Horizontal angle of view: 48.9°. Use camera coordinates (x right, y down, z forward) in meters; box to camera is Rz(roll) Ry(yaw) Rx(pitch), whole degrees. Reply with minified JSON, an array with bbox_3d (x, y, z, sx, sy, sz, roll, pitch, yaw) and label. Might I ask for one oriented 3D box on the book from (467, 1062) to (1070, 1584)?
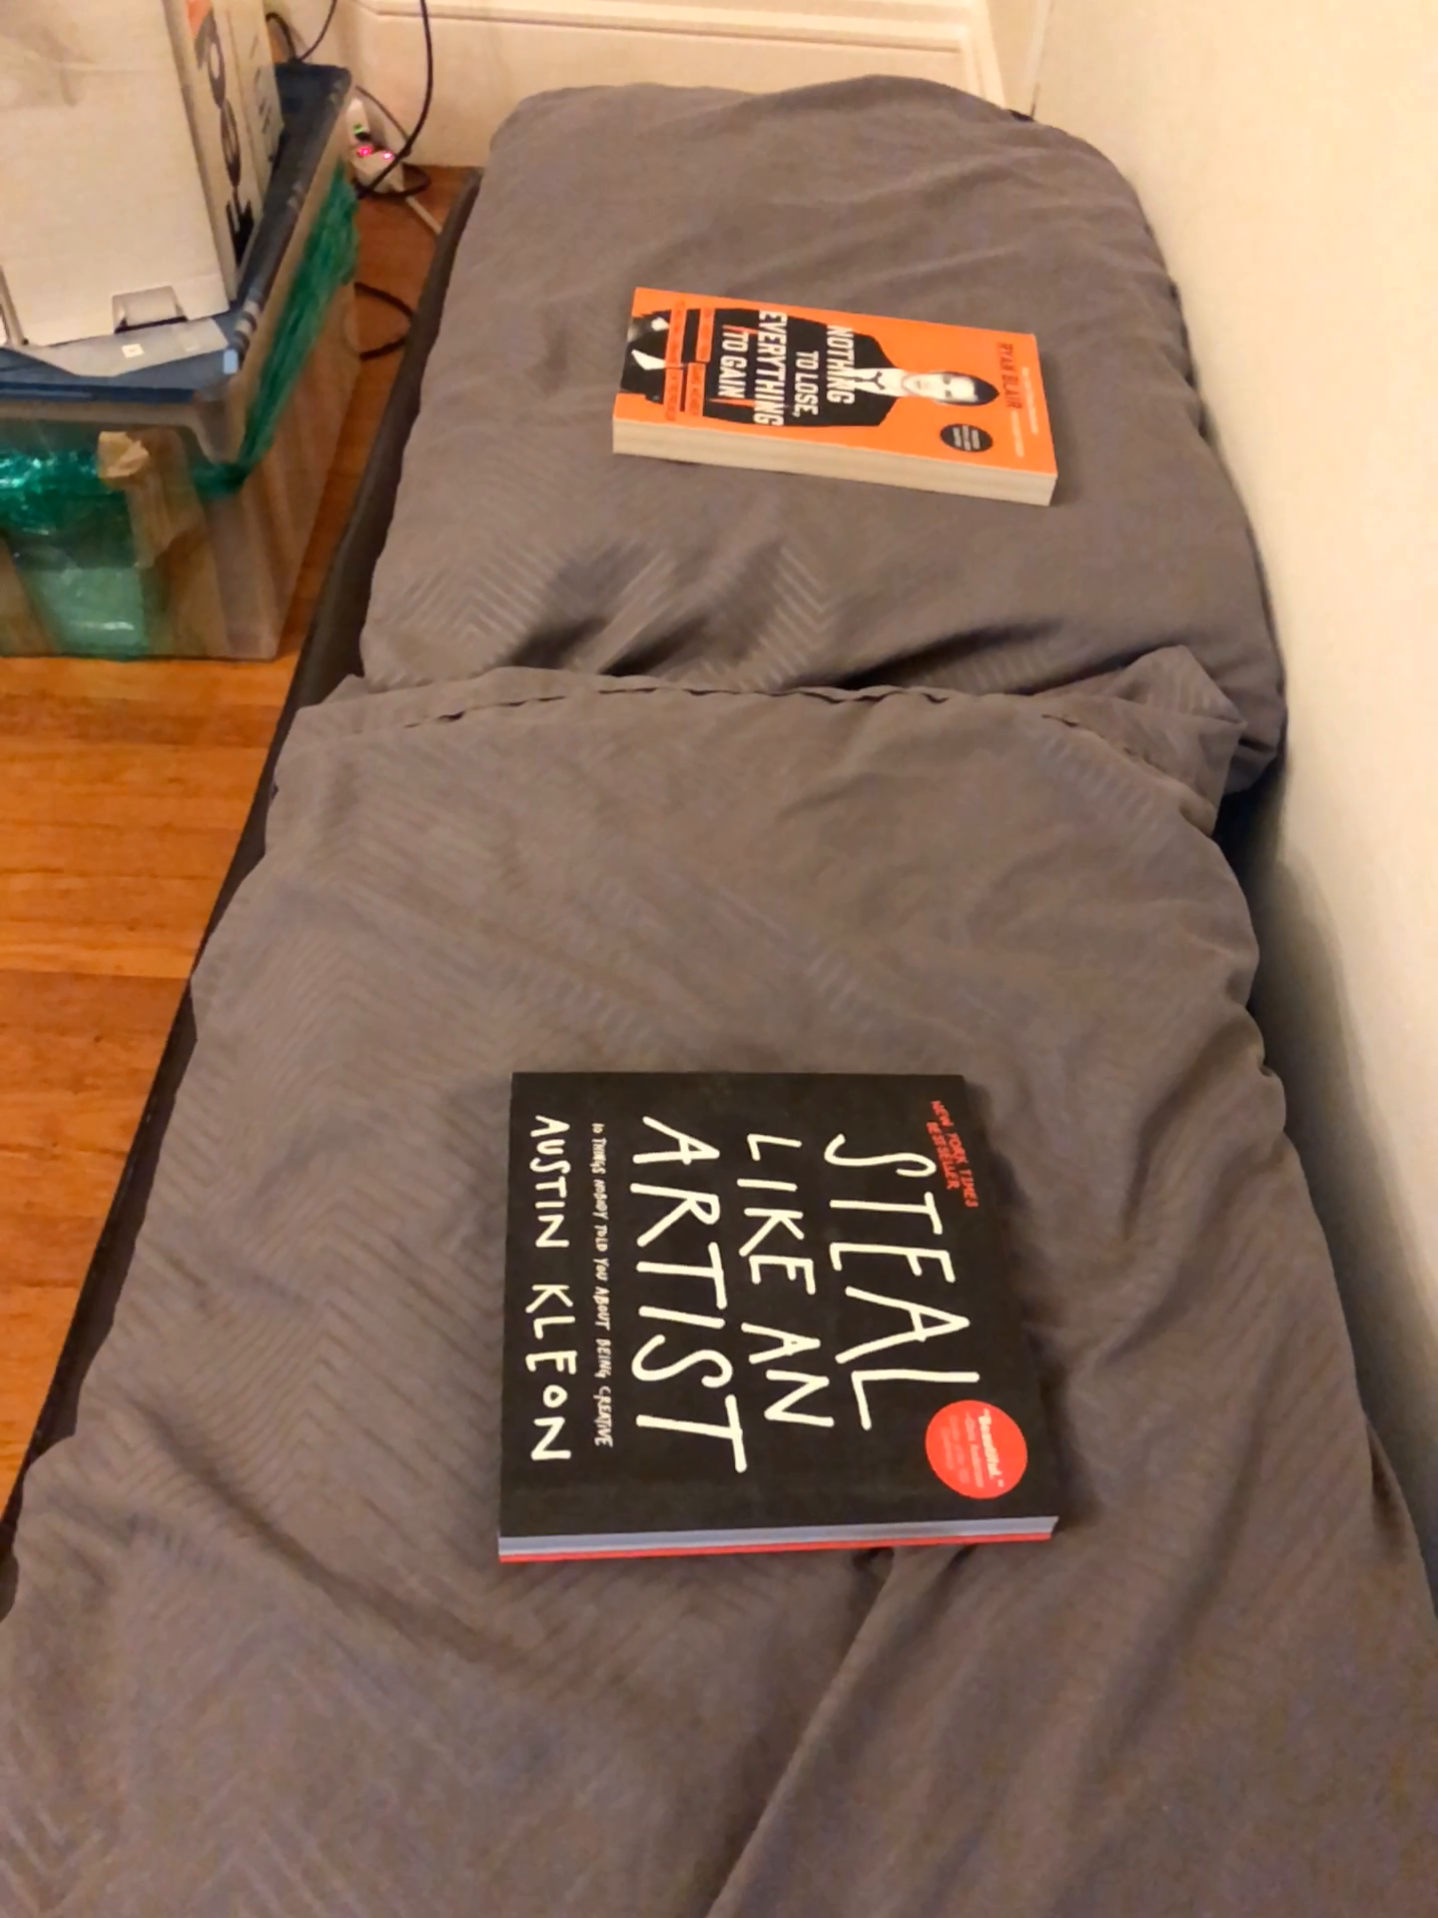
[{"bbox_3d":[0.009,0.101,0.477,0.160,0.020,0.161,0,48,-6],"label":"book"}]
